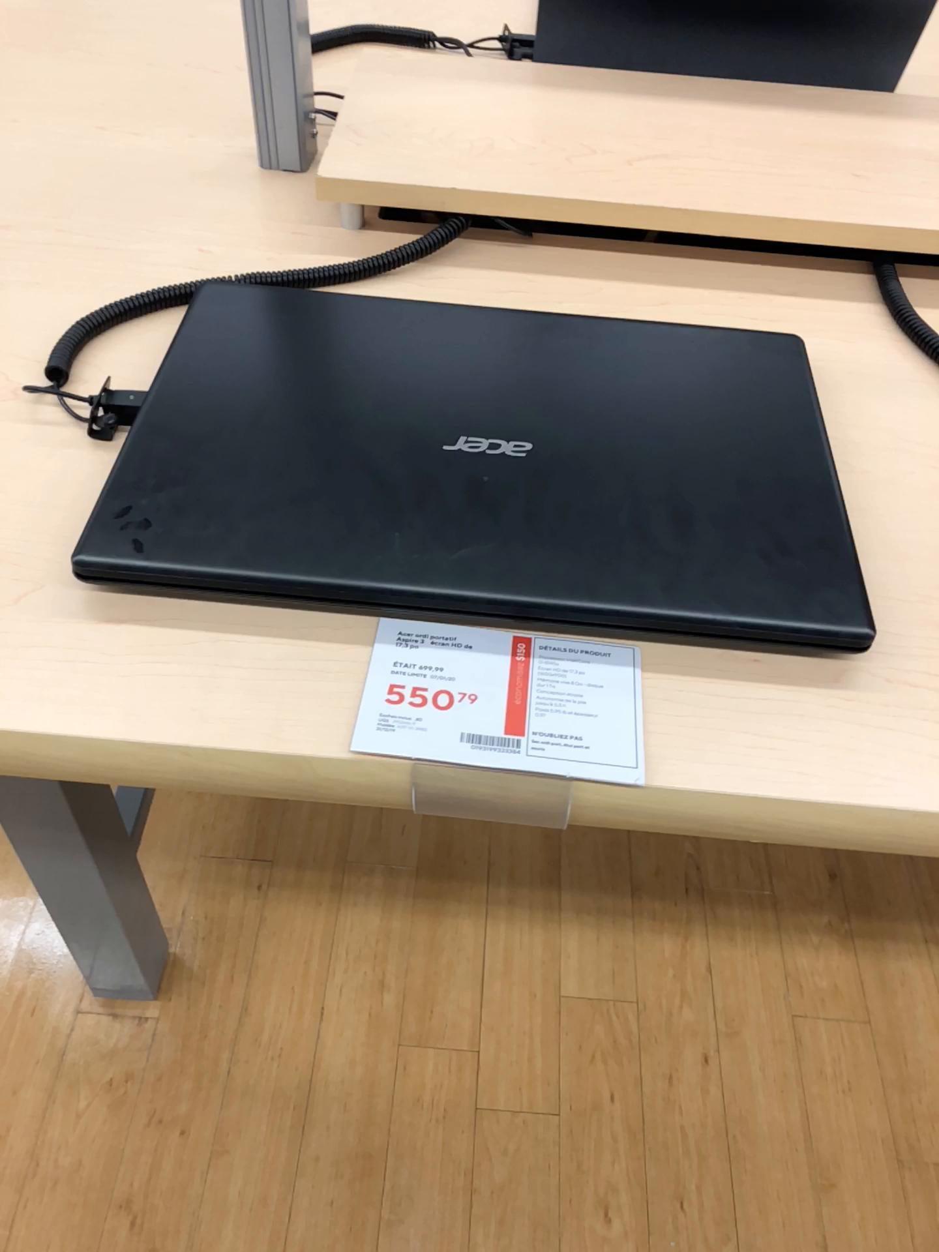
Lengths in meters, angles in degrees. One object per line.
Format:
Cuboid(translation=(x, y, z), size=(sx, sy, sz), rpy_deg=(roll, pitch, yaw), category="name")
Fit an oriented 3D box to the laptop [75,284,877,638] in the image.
Cuboid(translation=(0.010, -0.115, 0.621), size=(0.416, 0.001, 0.268), rpy_deg=(5, 49, 1), category="laptop")
